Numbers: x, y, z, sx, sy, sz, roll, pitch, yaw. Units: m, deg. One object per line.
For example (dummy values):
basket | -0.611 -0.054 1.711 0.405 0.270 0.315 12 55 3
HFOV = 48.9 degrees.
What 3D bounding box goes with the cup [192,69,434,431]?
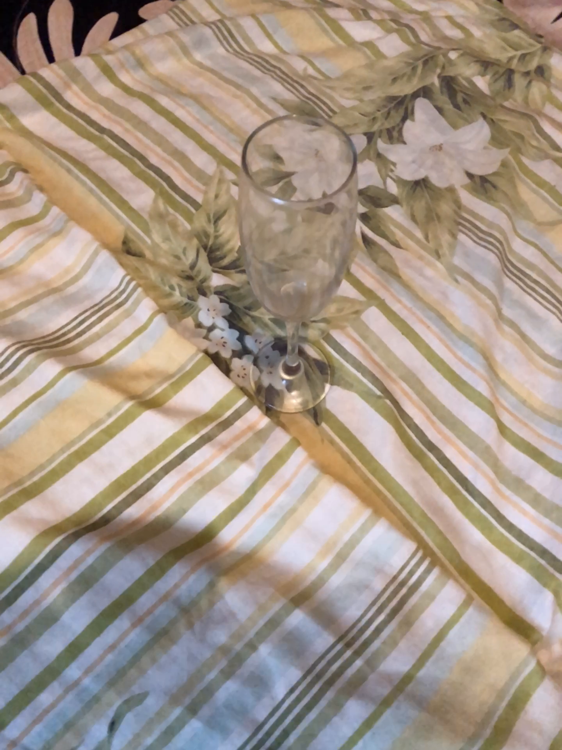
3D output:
cup | 0.009 -0.052 0.367 0.082 0.218 0.071 -23 67 -13
